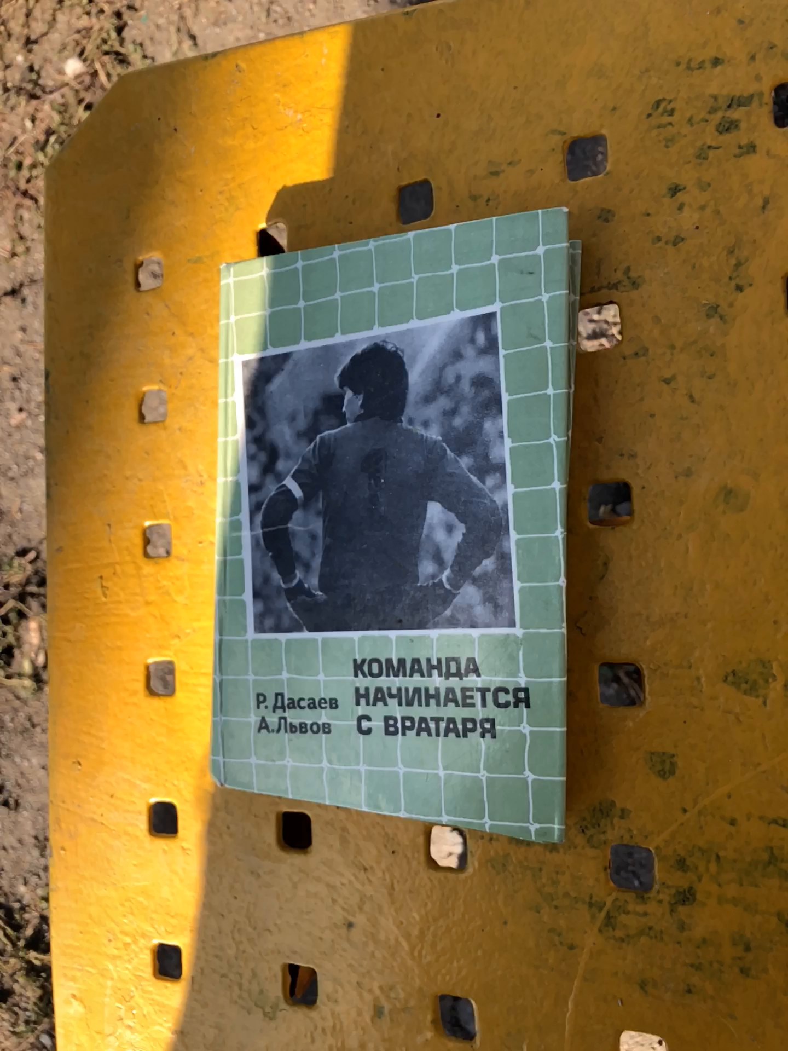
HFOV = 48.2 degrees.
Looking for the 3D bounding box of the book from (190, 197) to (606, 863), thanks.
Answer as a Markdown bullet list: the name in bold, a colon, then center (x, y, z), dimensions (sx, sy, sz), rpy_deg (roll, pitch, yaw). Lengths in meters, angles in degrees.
- **book**: center (-0.002, 0.000, 0.258), dimensions (0.118, 0.030, 0.164), rpy_deg (0, 88, 28)
